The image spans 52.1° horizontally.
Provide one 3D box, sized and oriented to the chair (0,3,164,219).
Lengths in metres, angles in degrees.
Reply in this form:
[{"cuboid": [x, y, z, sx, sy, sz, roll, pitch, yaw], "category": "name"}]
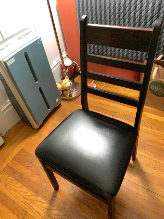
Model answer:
[{"cuboid": [0.041, 0.091, 0.775, 0.492, 0.865, 0.551, 17, 52, 26], "category": "chair"}]
